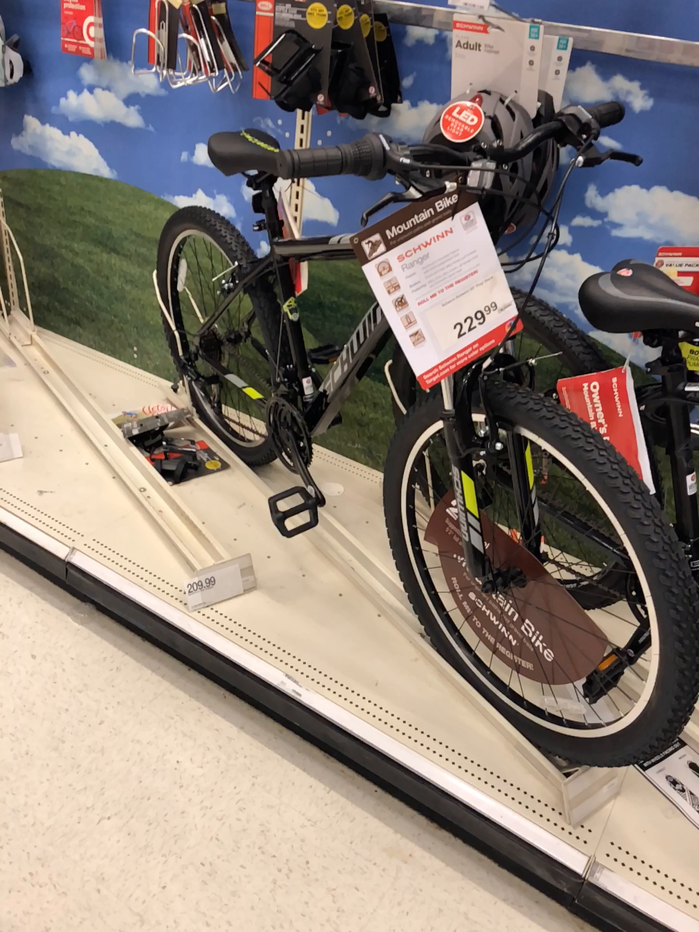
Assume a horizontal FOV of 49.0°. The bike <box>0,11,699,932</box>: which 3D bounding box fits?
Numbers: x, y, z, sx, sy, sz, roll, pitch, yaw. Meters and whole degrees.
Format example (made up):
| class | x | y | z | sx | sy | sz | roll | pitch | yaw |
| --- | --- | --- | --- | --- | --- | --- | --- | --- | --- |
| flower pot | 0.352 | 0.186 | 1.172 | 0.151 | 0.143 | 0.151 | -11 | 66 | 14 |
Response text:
| class | x | y | z | sx | sy | sz | roll | pitch | yaw |
| --- | --- | --- | --- | --- | --- | --- | --- | --- | --- |
| bike | -0.107 | -0.142 | 1.447 | 0.599 | 1.002 | 1.659 | -14 | 39 | -32 |
